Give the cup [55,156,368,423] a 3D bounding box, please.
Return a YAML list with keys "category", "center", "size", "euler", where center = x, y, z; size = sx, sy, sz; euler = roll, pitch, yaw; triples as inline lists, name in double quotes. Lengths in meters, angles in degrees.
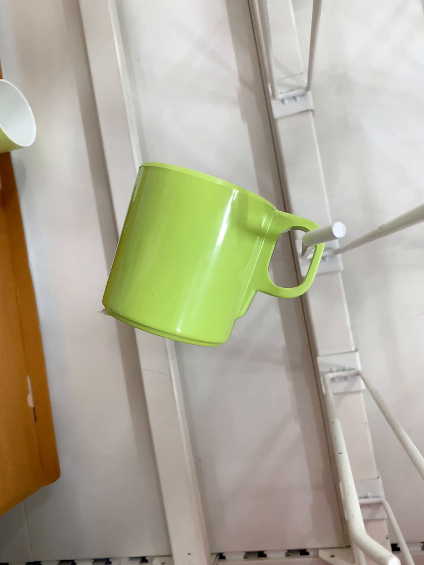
- category: "cup"
  center: [0.004, 0.000, 0.229]
  size: [0.100, 0.110, 0.080]
  euler: [-17, 124, -82]
